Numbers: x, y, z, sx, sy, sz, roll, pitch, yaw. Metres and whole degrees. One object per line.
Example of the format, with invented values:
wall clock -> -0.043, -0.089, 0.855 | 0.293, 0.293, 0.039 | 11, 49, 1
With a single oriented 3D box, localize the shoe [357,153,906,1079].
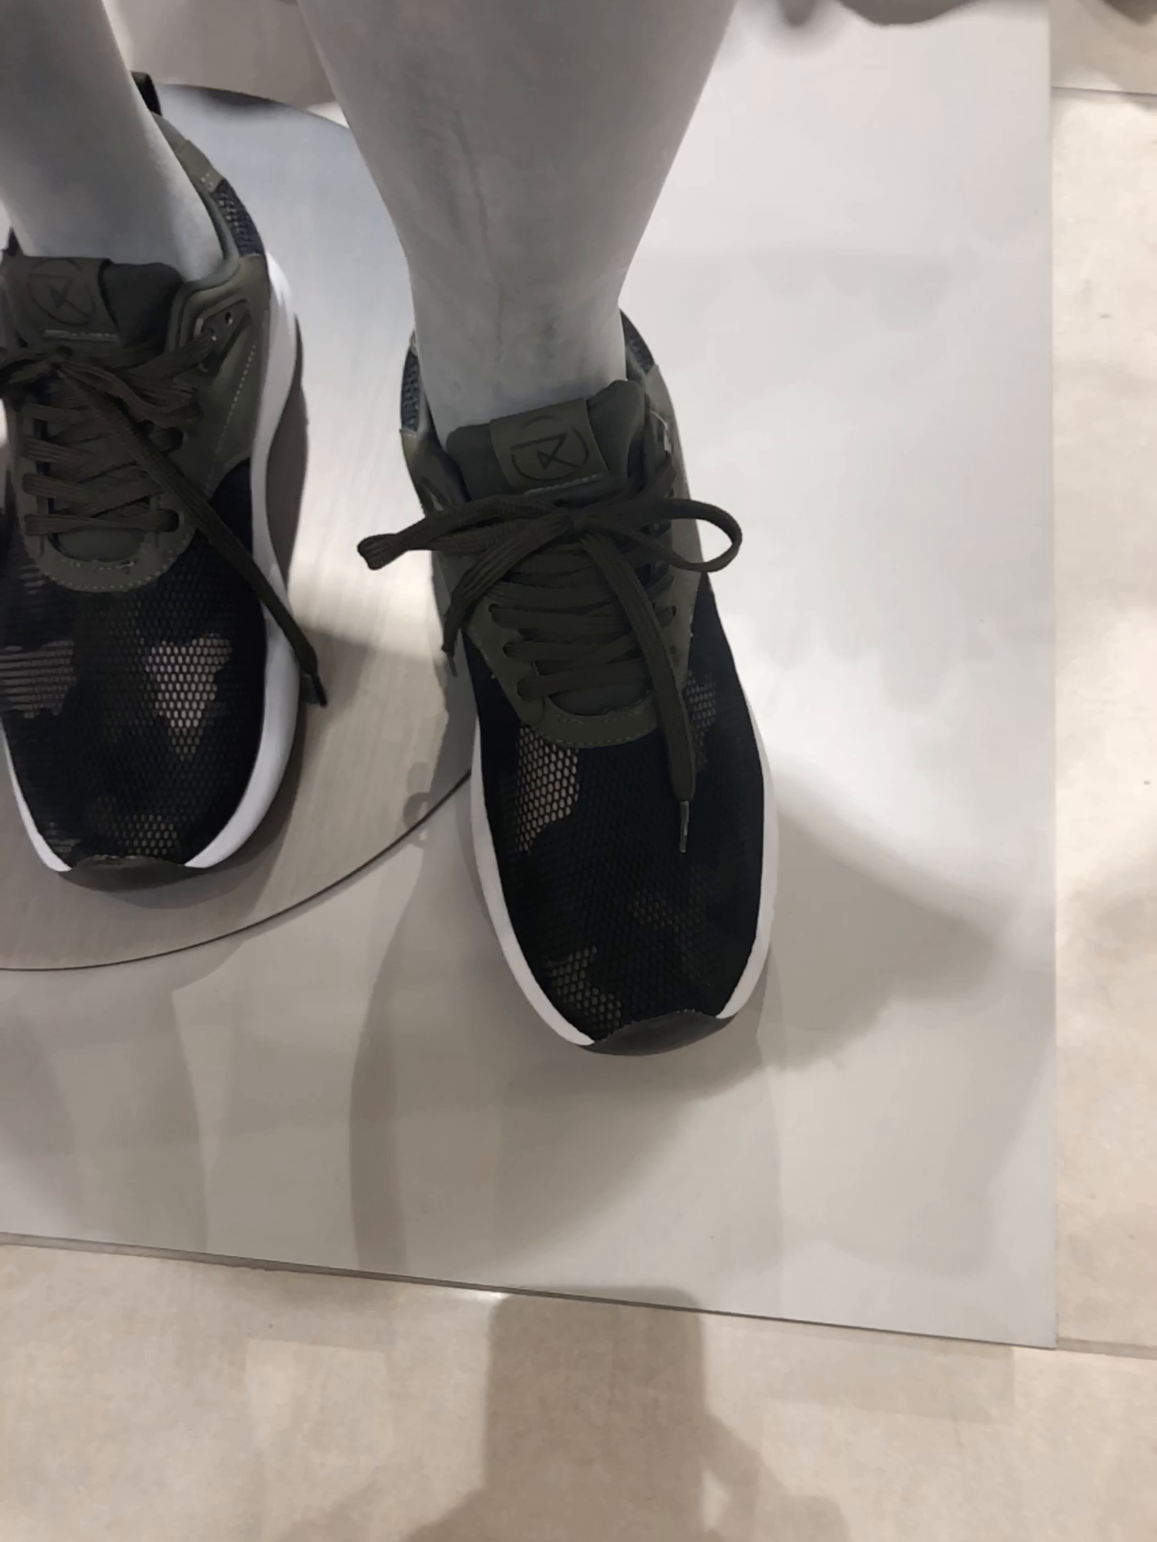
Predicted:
shoe -> 0.008, -0.050, 0.438 | 0.110, 0.110, 0.280 | -11, 73, -3

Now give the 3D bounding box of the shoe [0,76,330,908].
shoe -> -0.155, -0.092, 0.451 | 0.100, 0.120, 0.260 | -1, 73, 0
